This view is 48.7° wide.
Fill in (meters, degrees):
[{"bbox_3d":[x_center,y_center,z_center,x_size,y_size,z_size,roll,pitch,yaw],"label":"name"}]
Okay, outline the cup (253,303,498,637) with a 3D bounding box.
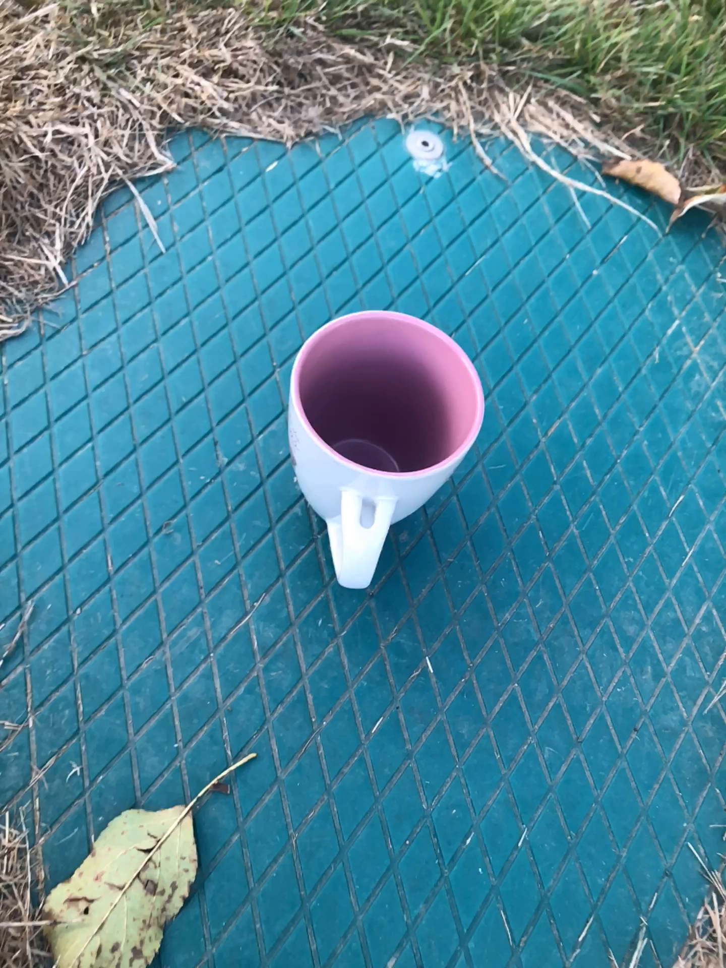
[{"bbox_3d":[0.005,-0.003,0.391,0.095,0.091,0.121,9,62,-6],"label":"cup"}]
